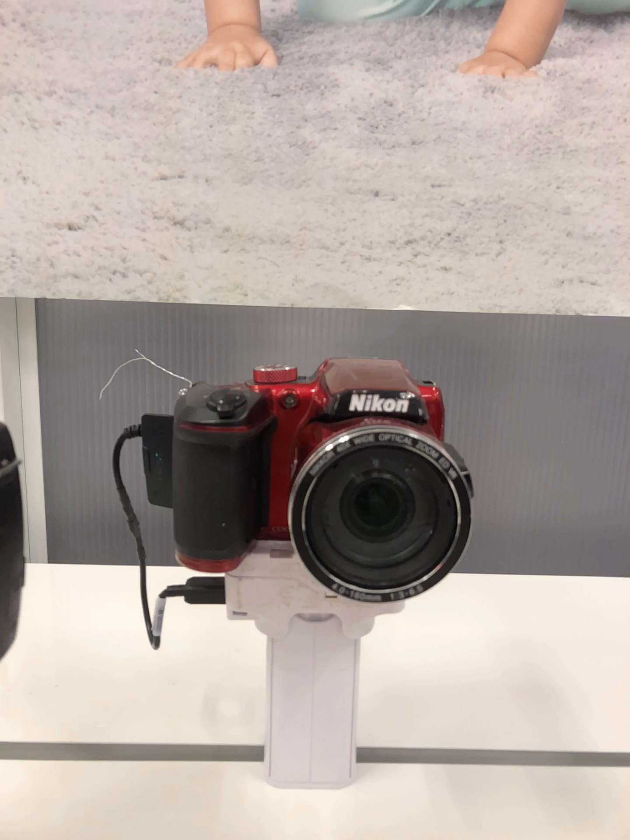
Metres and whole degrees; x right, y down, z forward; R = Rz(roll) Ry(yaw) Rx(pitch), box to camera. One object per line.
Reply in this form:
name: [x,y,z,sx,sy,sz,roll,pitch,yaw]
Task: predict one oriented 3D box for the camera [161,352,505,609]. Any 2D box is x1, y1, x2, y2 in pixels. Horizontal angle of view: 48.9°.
camera: [0.004,0.018,0.270,0.110,0.074,0.084,2,12,-1]
